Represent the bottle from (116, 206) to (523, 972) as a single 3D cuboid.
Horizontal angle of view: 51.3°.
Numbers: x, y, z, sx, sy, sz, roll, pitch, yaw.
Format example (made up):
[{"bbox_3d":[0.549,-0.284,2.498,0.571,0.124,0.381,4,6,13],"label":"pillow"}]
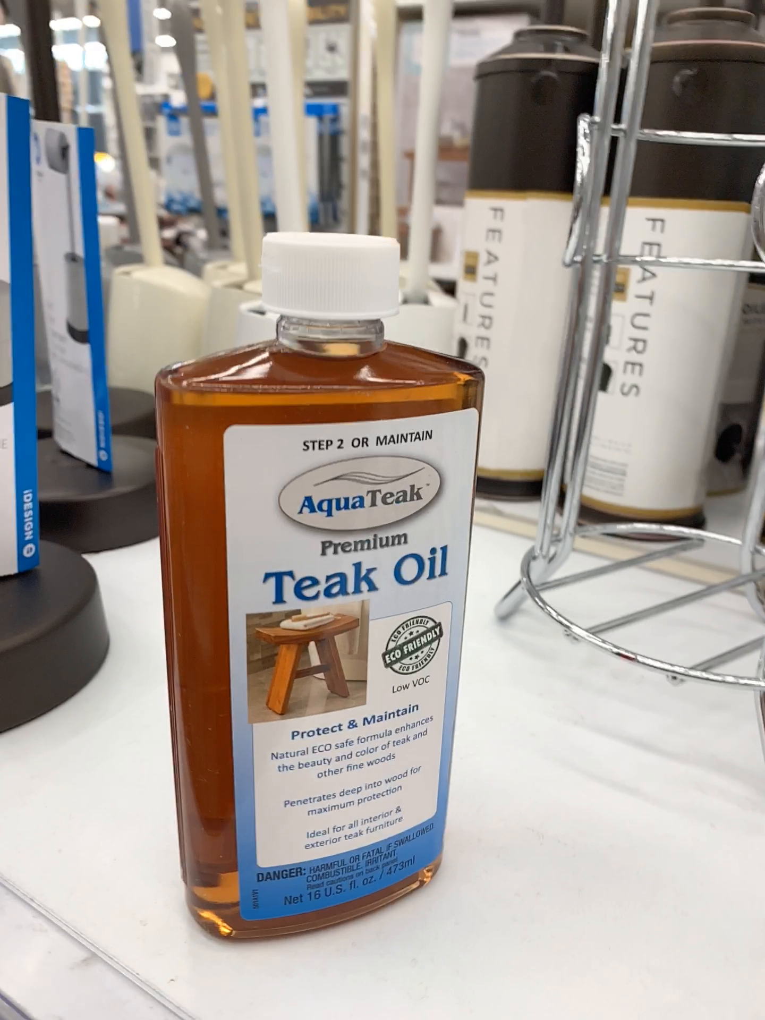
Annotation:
[{"bbox_3d":[-0.020,0.025,0.230,0.088,0.207,0.046,-7,23,-23],"label":"bottle"}]
